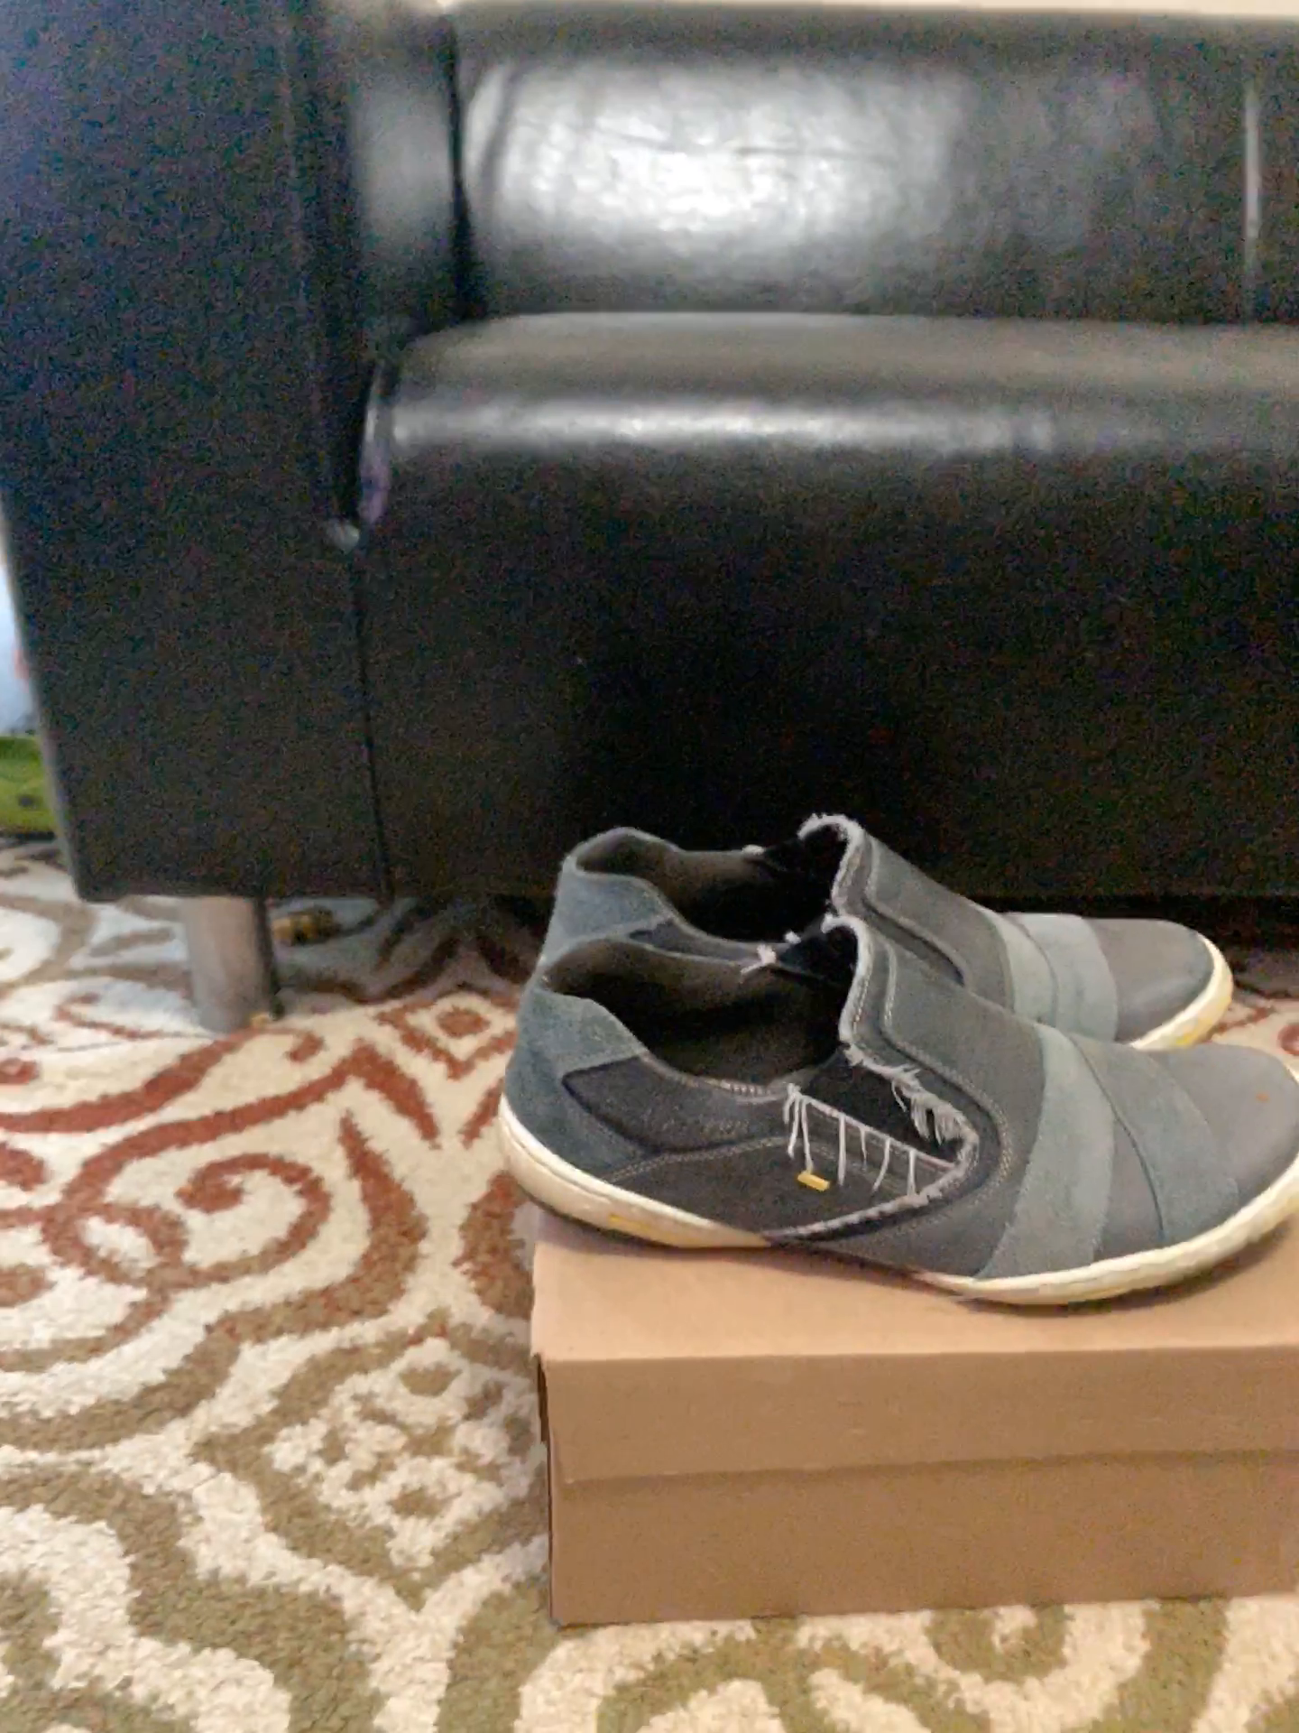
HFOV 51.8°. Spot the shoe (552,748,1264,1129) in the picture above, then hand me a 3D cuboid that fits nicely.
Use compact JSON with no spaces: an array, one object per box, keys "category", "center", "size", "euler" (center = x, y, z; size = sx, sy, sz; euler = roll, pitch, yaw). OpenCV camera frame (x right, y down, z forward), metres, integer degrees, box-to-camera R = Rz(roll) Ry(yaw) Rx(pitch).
[{"category":"shoe","center":[0.096,0.024,0.576],"size":[0.260,0.100,0.141],"euler":[2,25,2]}]

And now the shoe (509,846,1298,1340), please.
[{"category":"shoe","center":[0.091,0.071,0.475],"size":[0.260,0.100,0.141],"euler":[2,25,2]}]
